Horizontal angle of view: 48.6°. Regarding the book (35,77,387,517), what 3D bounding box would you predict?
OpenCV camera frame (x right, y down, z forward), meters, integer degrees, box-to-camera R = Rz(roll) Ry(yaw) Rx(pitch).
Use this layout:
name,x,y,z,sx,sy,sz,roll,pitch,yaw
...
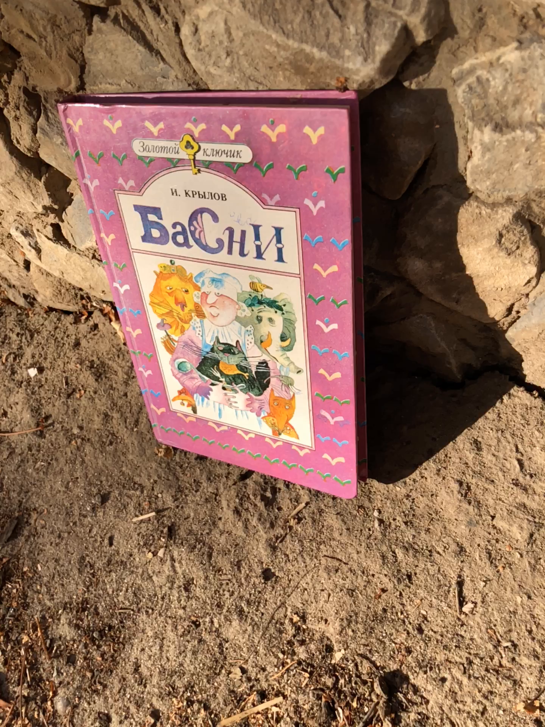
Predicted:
name,x,y,z,sx,sy,sz,roll,pitch,yaw
book,-0.022,-0.024,0.289,0.142,0.201,0.025,13,39,23
